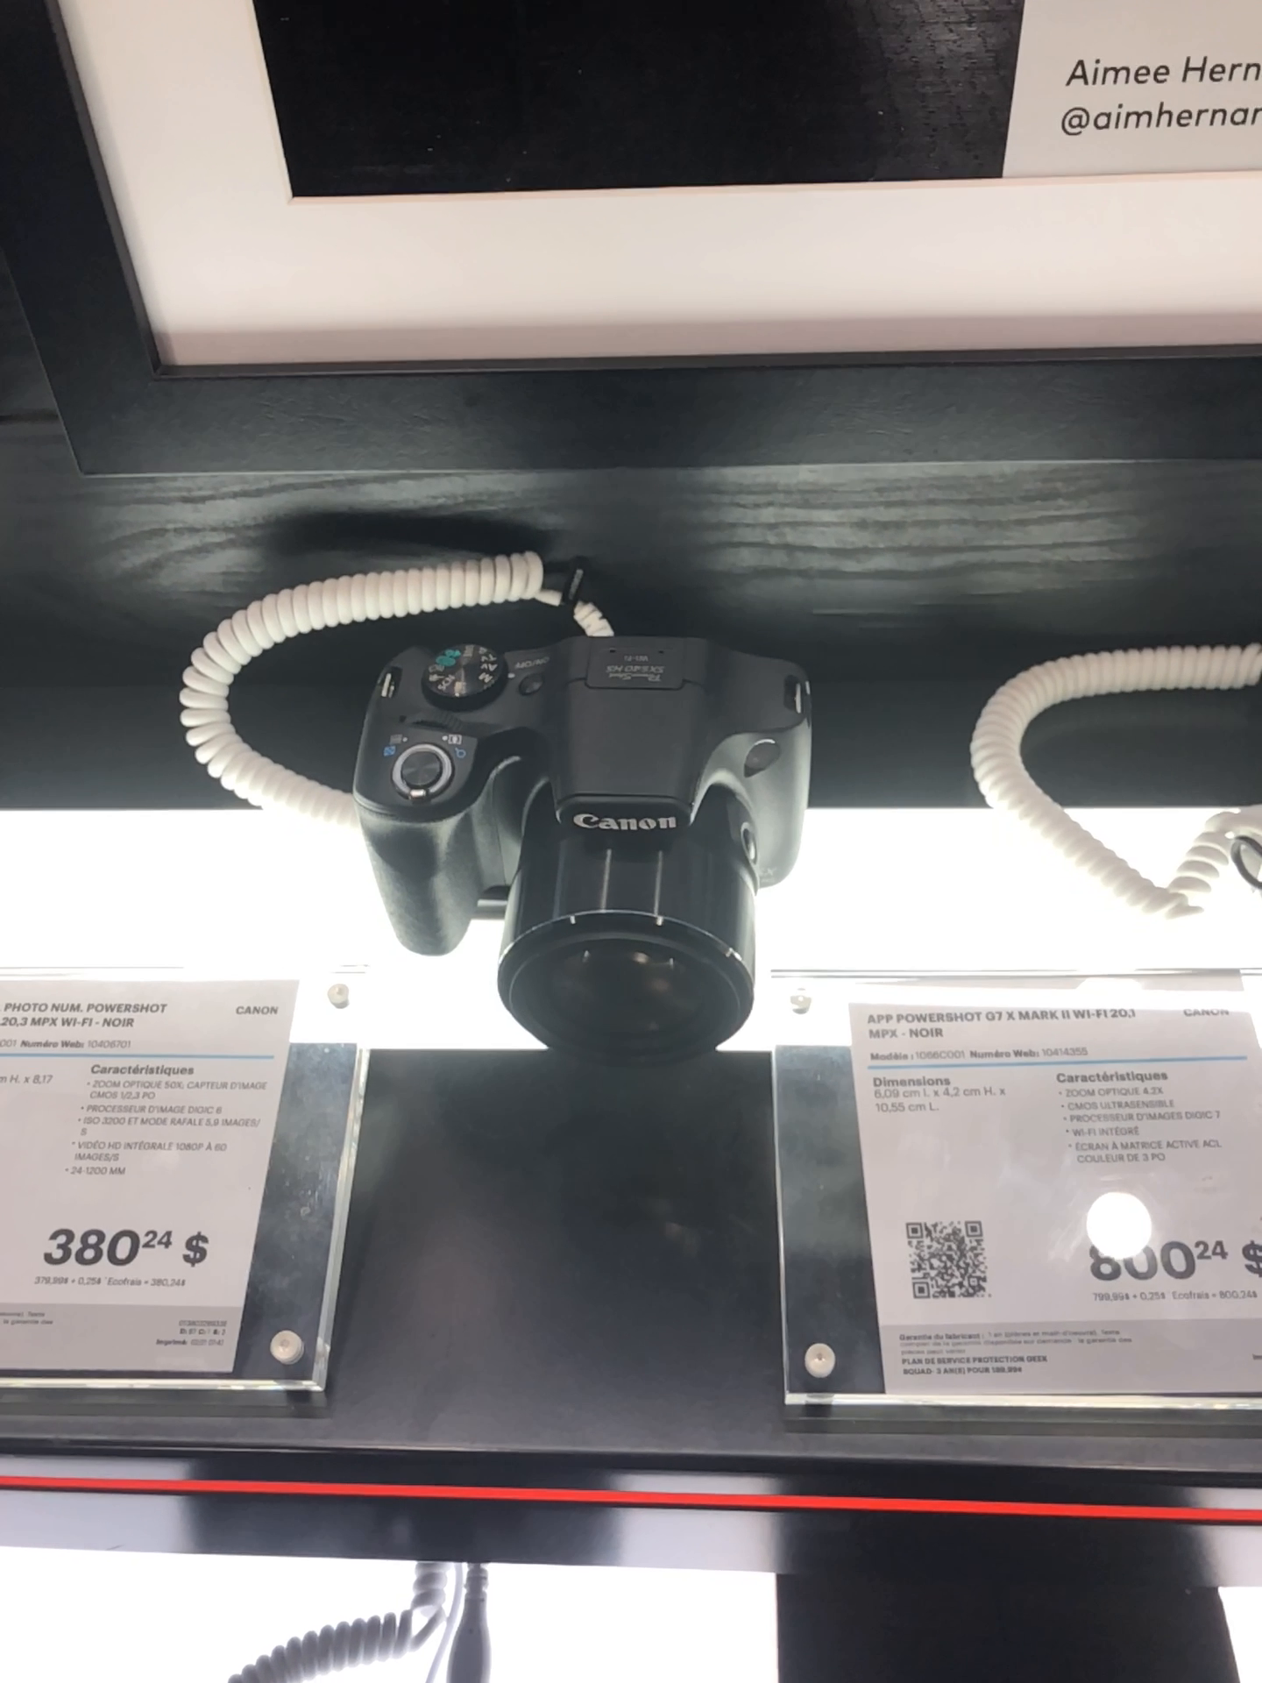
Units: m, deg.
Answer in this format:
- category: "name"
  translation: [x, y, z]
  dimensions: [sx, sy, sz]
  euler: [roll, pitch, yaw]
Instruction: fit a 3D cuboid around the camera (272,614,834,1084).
- category: "camera"
  translation: [-0.014, 0.003, 0.363]
  dimensions: [0.122, 0.099, 0.071]
  euler: [0, 43, 3]
